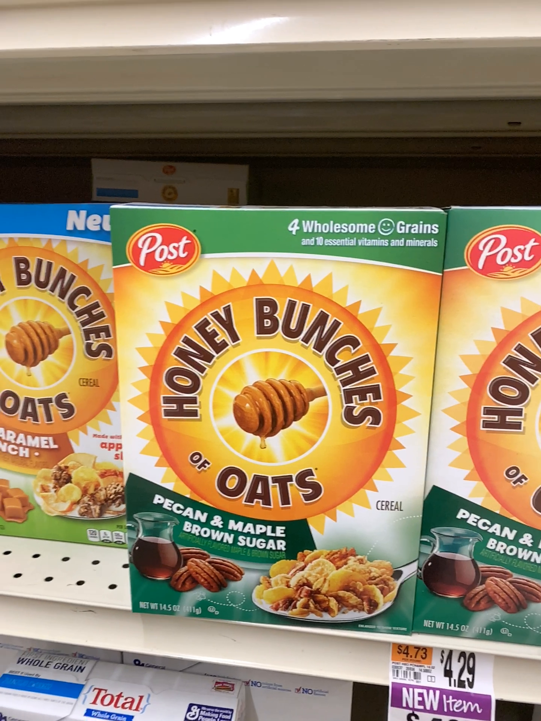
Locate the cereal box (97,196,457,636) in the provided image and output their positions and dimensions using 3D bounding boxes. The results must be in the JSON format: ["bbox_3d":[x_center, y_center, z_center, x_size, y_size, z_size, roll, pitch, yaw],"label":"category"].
[{"bbox_3d":[0.001,0.037,0.373,0.200,0.279,0.060,2,15,4],"label":"cereal box"}]
